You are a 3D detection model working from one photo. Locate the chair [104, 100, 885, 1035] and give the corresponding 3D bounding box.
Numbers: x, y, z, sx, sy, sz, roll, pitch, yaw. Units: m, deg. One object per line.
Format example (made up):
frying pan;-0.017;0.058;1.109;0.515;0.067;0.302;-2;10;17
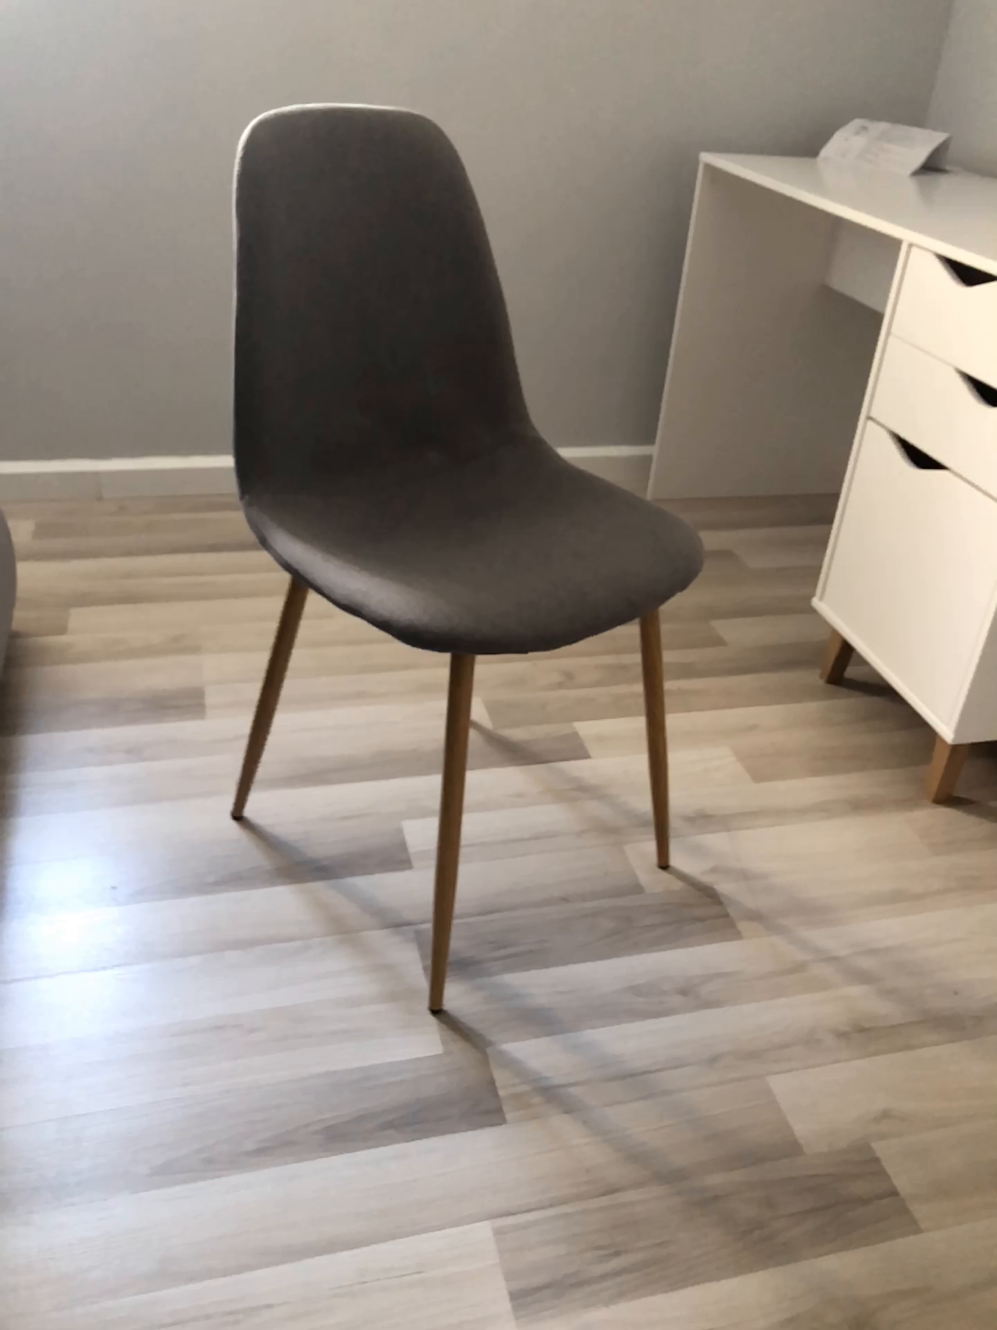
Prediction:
chair;-0.043;-0.156;1.223;0.473;0.785;0.570;-22;40;-37
